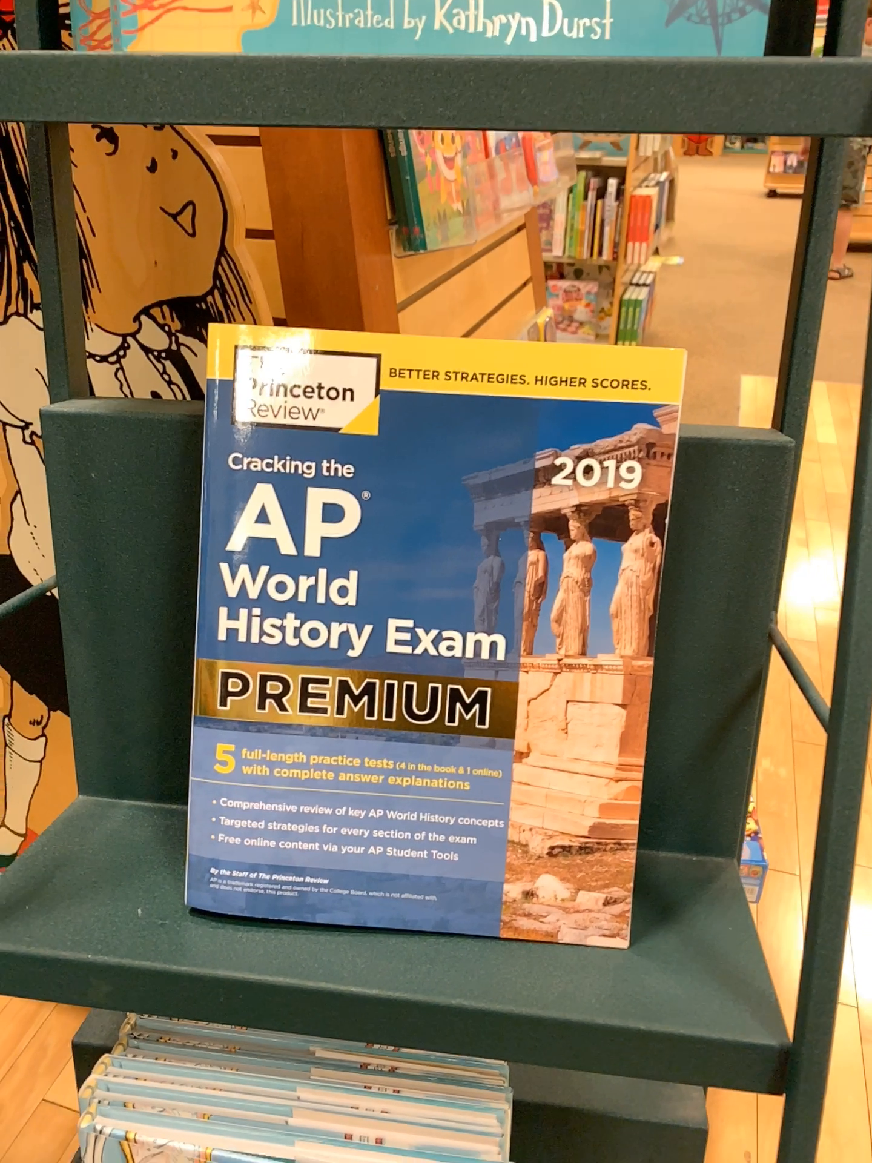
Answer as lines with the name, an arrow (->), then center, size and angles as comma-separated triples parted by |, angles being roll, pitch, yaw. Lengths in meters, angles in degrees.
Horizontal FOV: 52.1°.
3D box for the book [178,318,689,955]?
book -> -0.004, 0.022, 0.419 | 0.214, 0.270, 0.057 | 3, 5, 5
